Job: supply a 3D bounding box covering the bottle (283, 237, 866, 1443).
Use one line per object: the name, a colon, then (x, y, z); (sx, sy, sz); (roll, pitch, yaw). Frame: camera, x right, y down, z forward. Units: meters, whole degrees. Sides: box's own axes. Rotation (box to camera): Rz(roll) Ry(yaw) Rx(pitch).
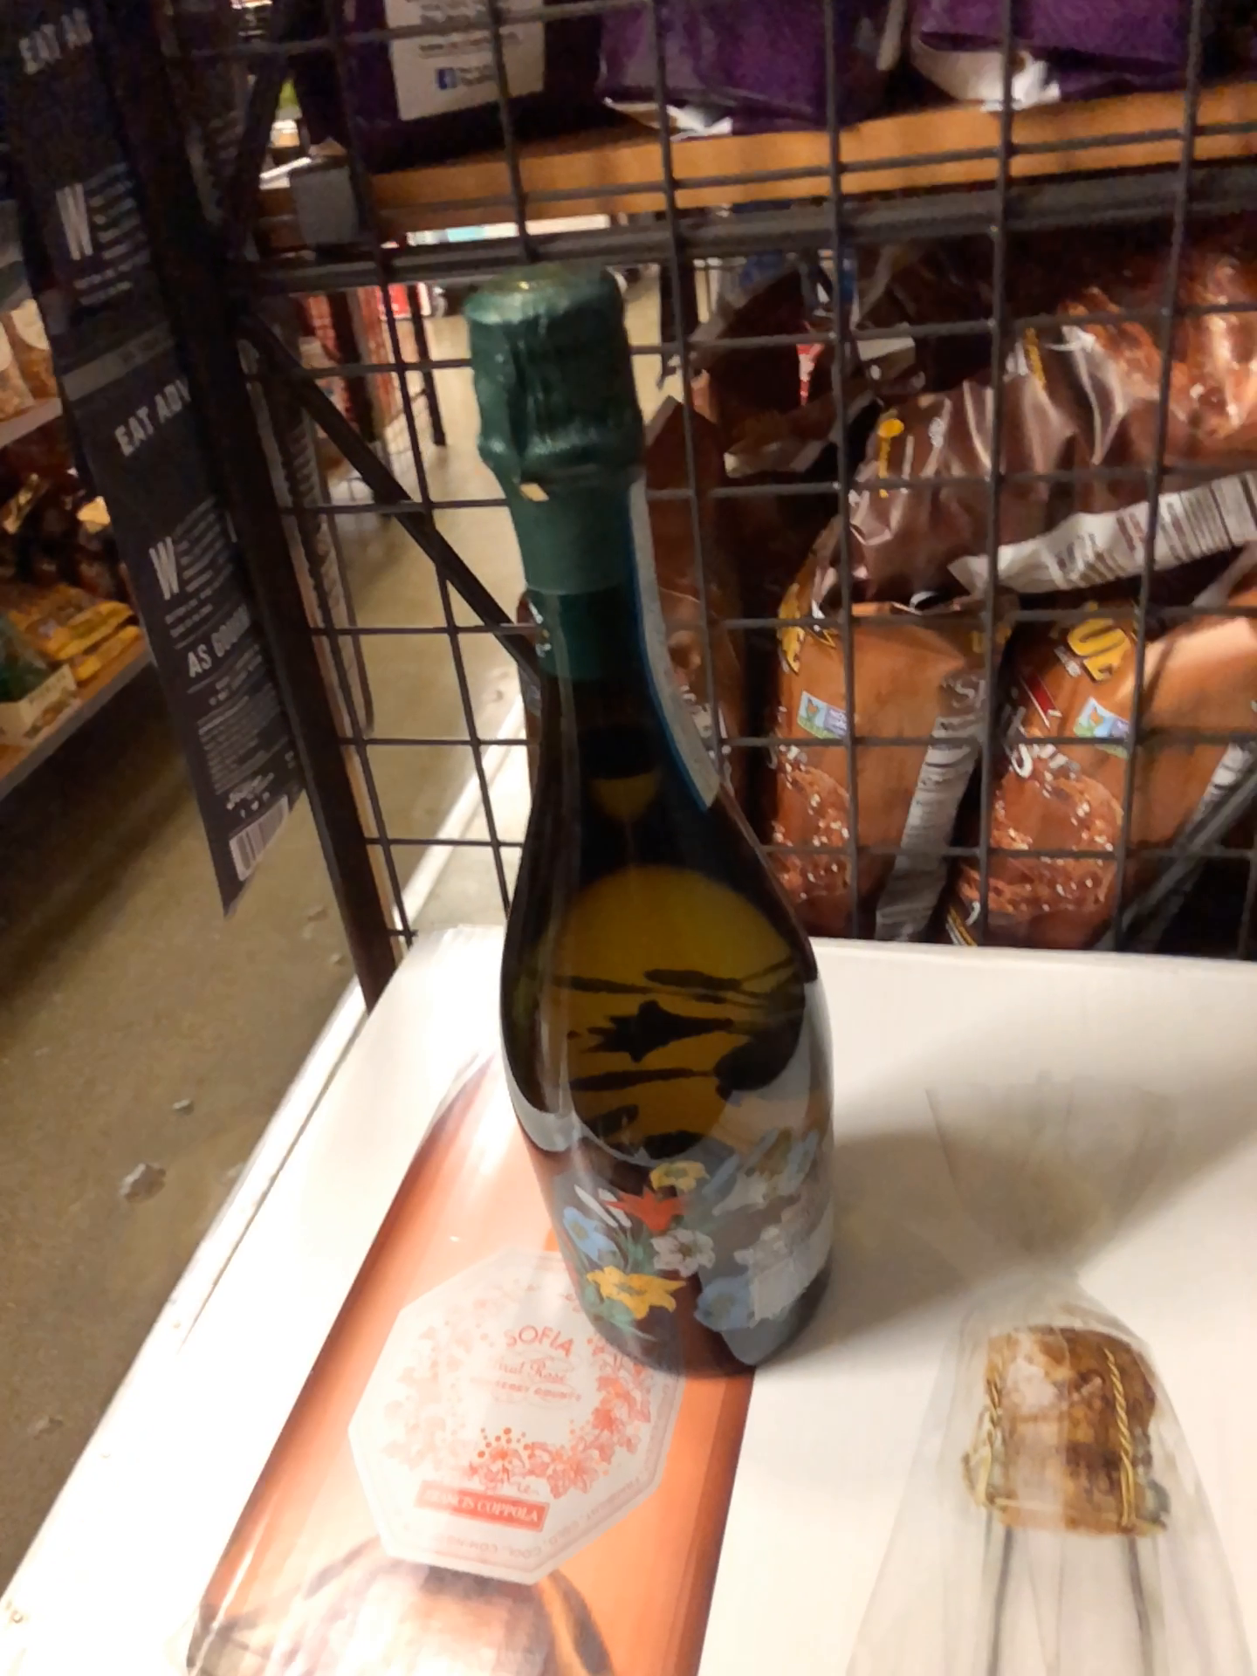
bottle: (0.008, 0.017, 0.358); (0.090, 0.299, 0.090); (-5, 32, 3)
